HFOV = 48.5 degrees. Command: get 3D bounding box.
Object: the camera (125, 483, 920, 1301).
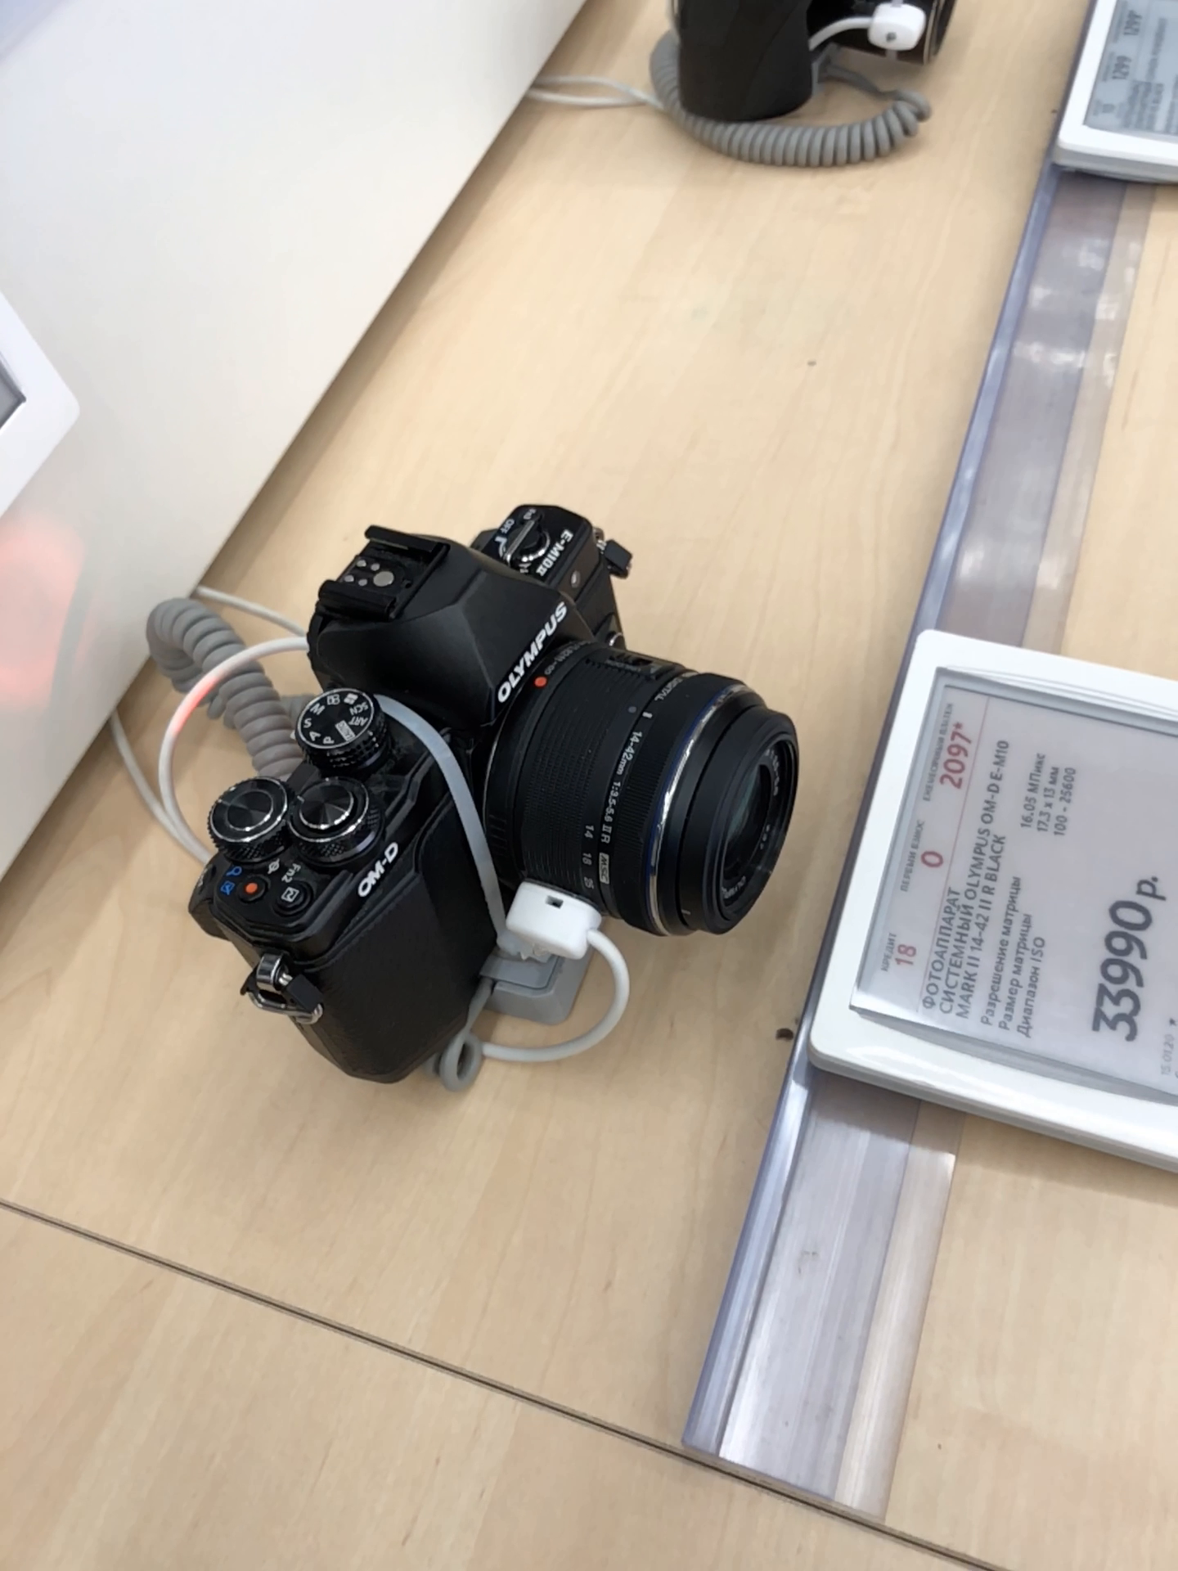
[{"bbox_3d":[-0.001,0.016,0.255,0.100,0.079,0.112,15,60,23],"label":"camera"}]
